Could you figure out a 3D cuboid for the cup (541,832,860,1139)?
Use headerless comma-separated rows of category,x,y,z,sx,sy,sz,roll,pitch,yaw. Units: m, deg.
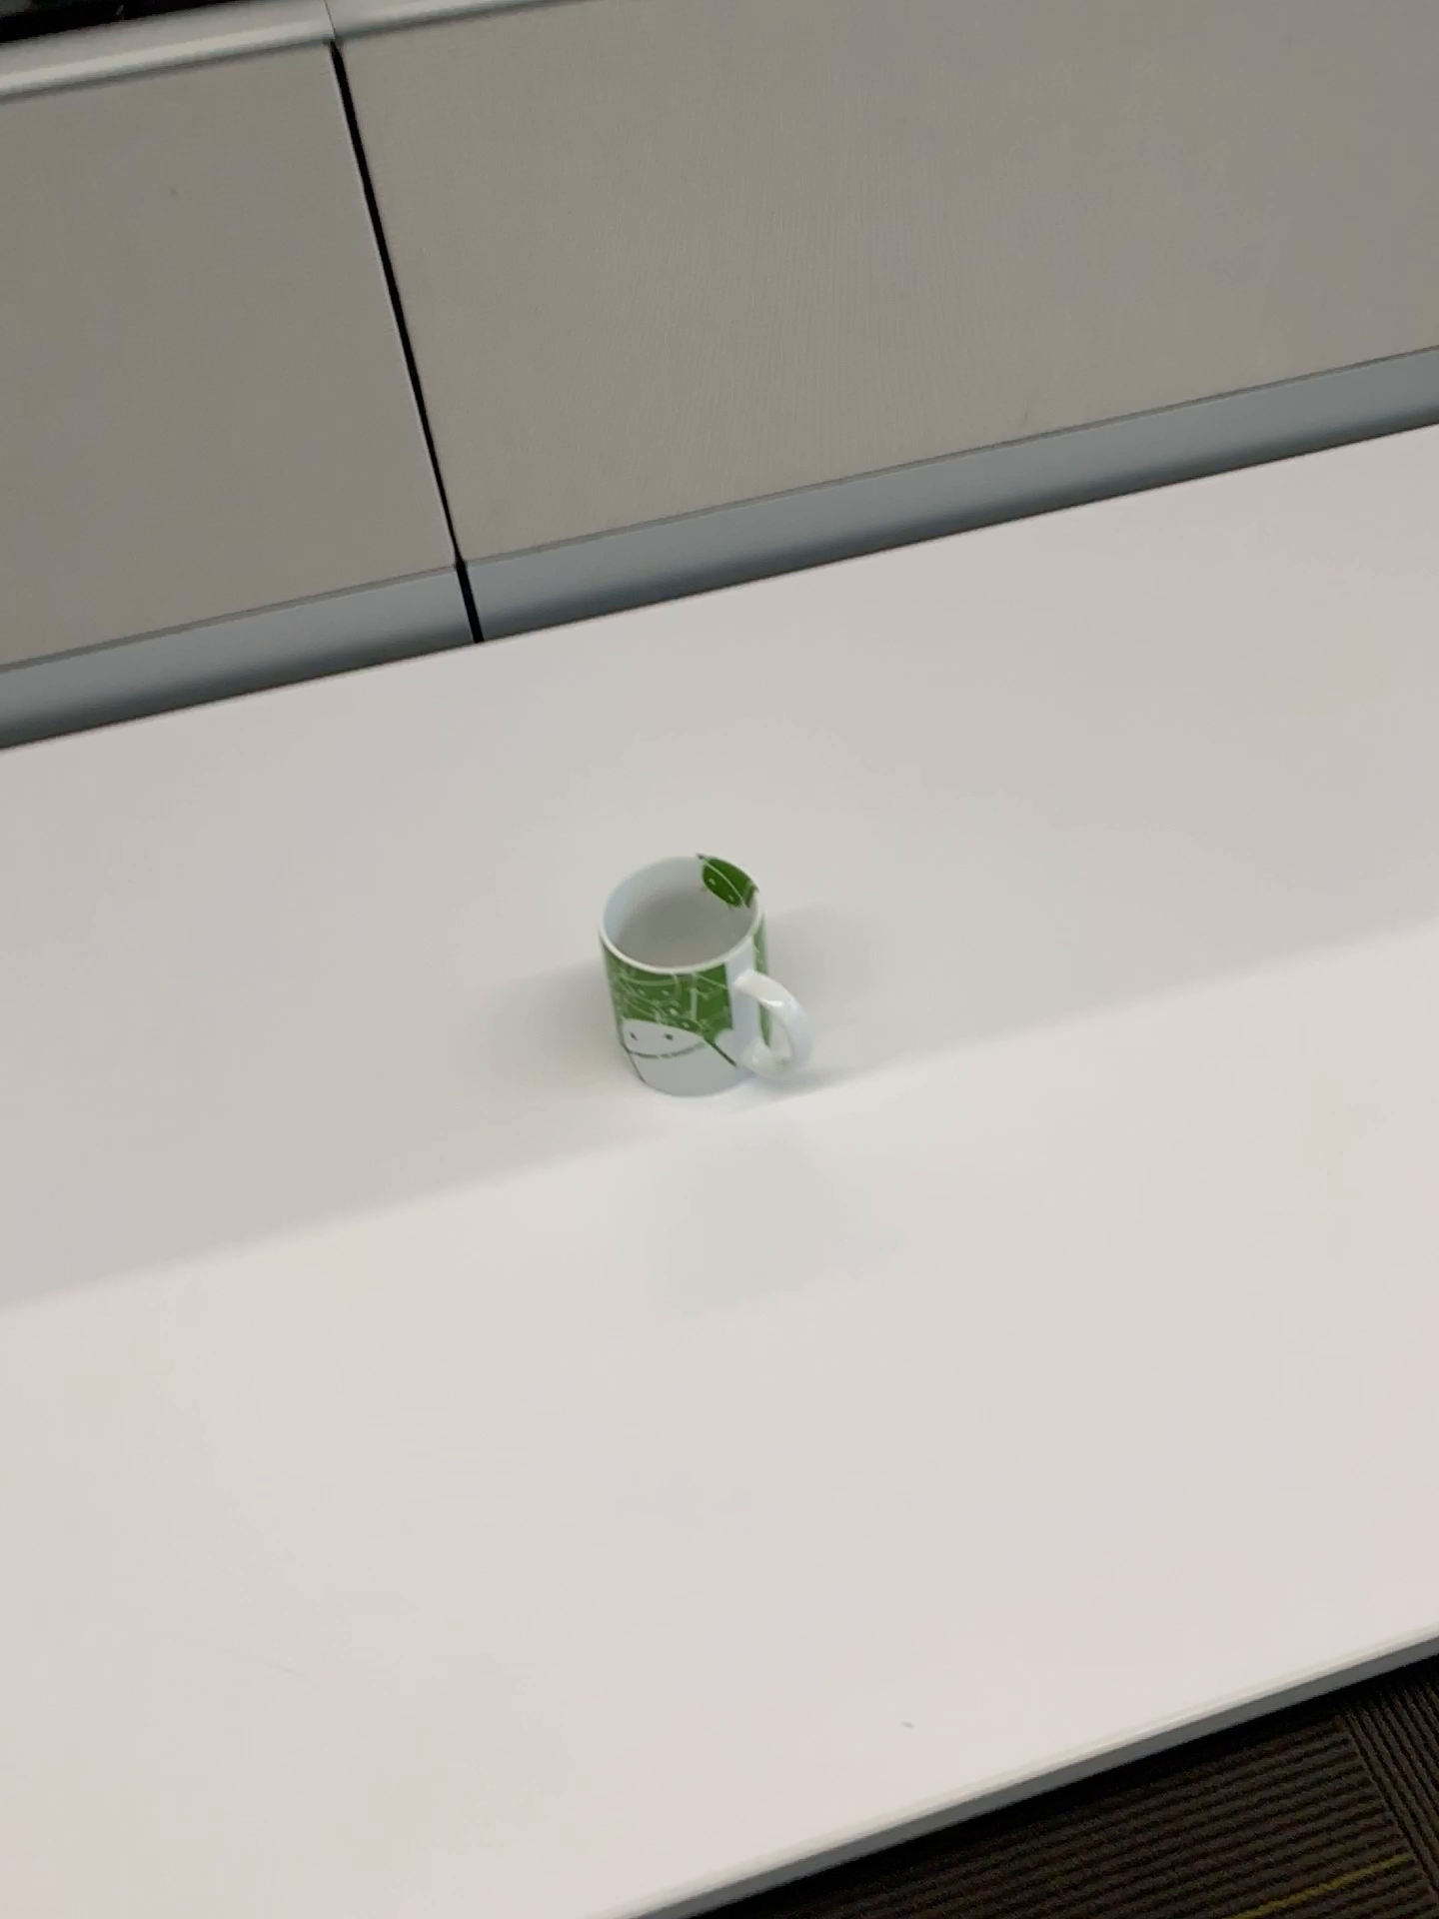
cup,-0.006,0.012,0.748,0.130,0.090,0.090,16,51,20
